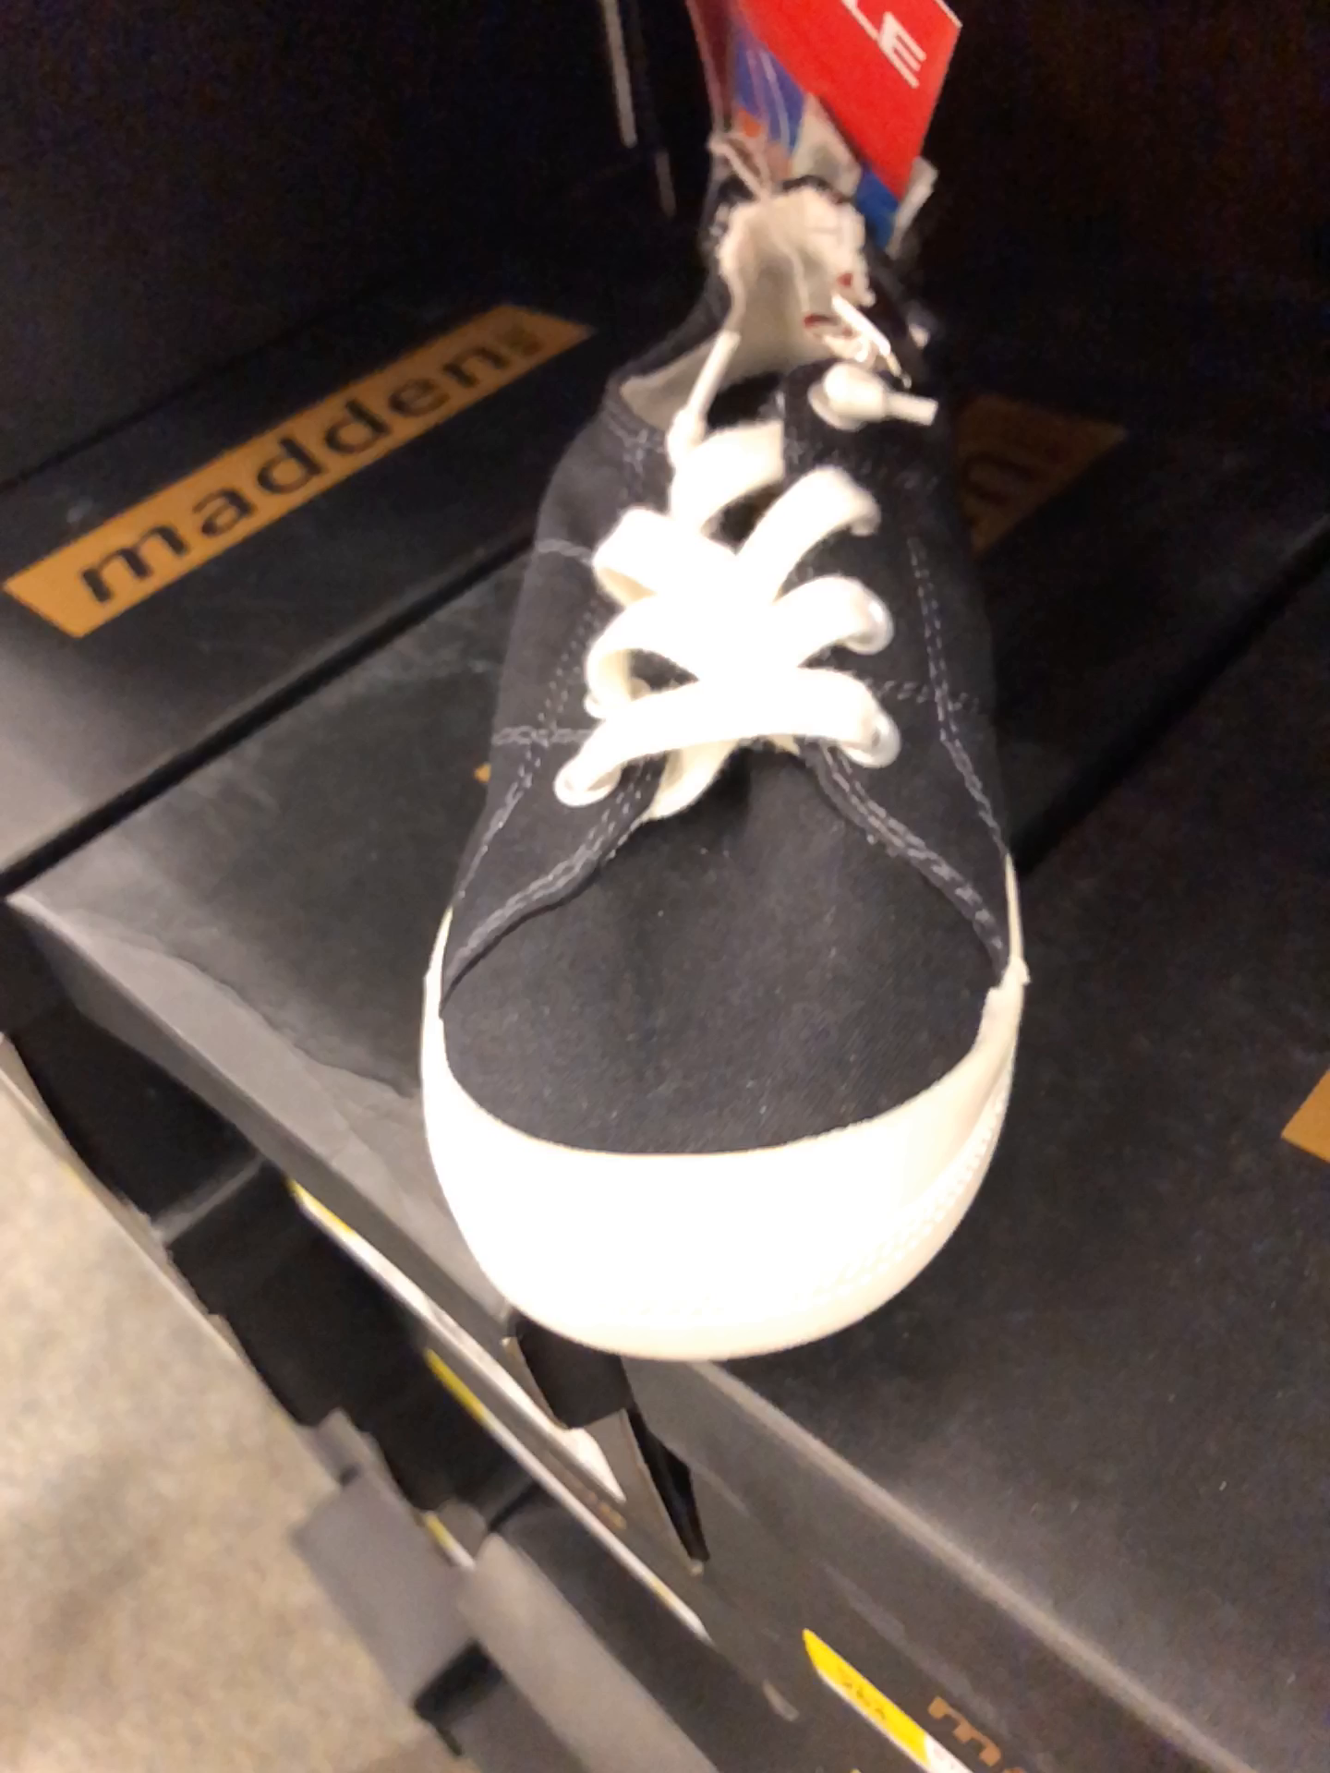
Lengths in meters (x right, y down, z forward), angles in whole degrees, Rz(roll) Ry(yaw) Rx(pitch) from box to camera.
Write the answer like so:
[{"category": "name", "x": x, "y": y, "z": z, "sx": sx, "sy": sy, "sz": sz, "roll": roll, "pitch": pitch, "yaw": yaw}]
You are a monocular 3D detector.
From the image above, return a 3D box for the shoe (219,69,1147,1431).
[{"category": "shoe", "x": 0.015, "y": -0.045, "z": 0.240, "sx": 0.080, "sy": 0.082, "sz": 0.235, "roll": -3, "pitch": 44, "yaw": 9}]
